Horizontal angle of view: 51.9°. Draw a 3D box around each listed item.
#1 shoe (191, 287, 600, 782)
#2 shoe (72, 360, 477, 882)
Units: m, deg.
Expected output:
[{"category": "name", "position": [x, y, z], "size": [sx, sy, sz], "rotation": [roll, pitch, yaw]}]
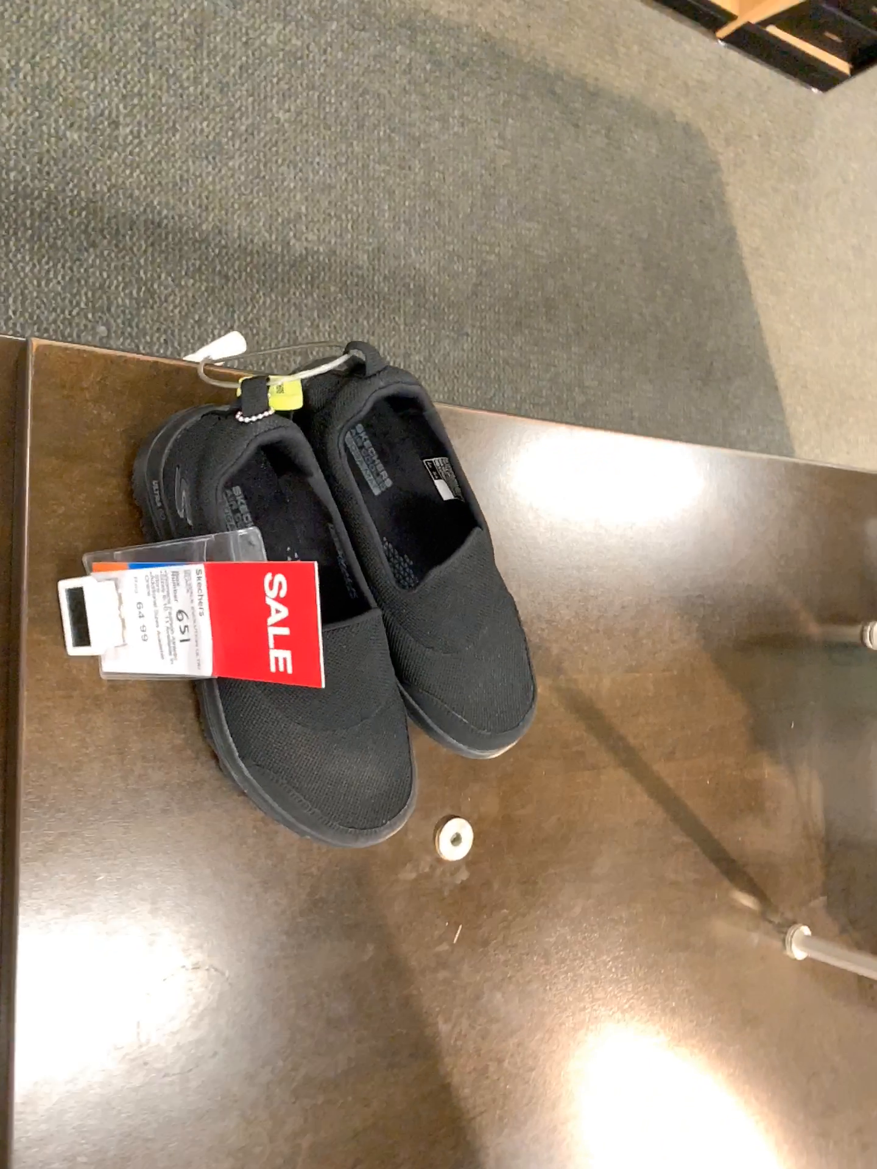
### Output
[{"category": "shoe", "position": [-0.023, -0.022, 0.518], "size": [0.094, 0.110, 0.244], "rotation": [-35, 107, -28]}, {"category": "shoe", "position": [-0.086, 0.018, 0.474], "size": [0.094, 0.110, 0.230], "rotation": [-28, 104, -30]}]
